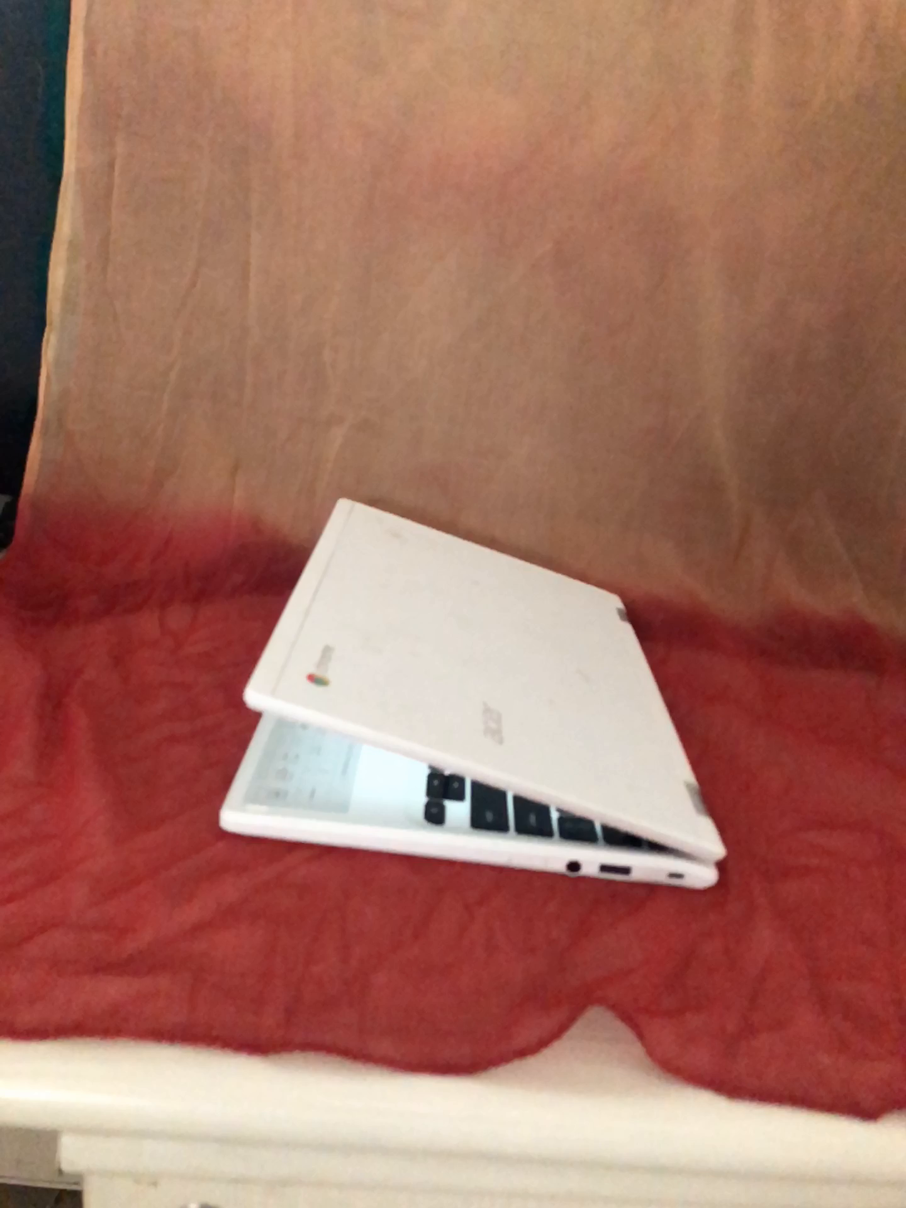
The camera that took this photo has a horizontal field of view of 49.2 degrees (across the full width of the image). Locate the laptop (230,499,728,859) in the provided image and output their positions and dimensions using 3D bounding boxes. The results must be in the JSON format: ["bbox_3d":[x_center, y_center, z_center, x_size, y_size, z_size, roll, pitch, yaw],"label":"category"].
[{"bbox_3d":[0.013,0.016,0.523,0.189,0.055,0.289,7,19,0],"label":"laptop"}]
